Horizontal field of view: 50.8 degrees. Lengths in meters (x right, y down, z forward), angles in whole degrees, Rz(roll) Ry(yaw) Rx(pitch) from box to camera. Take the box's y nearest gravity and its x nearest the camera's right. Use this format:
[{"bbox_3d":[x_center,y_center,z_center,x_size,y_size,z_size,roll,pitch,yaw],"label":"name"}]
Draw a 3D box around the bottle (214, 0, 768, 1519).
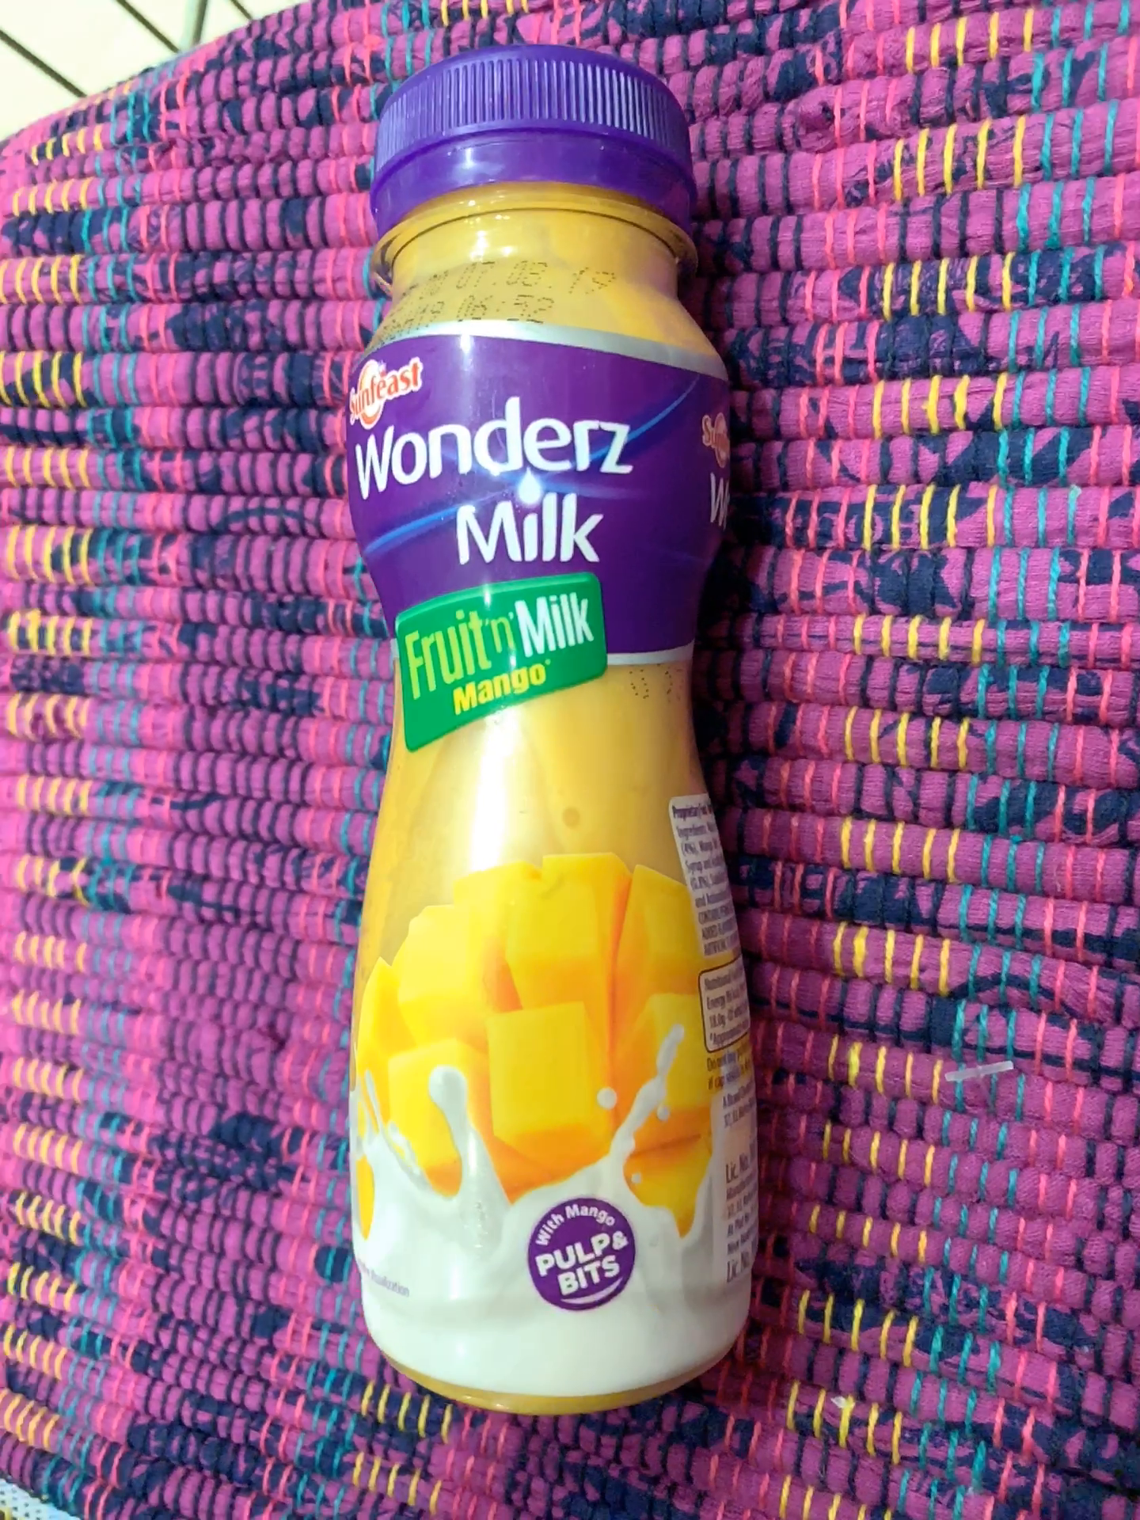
[{"bbox_3d":[-0.008,0.000,0.139,0.050,0.040,0.150,-2,87,23],"label":"bottle"}]
